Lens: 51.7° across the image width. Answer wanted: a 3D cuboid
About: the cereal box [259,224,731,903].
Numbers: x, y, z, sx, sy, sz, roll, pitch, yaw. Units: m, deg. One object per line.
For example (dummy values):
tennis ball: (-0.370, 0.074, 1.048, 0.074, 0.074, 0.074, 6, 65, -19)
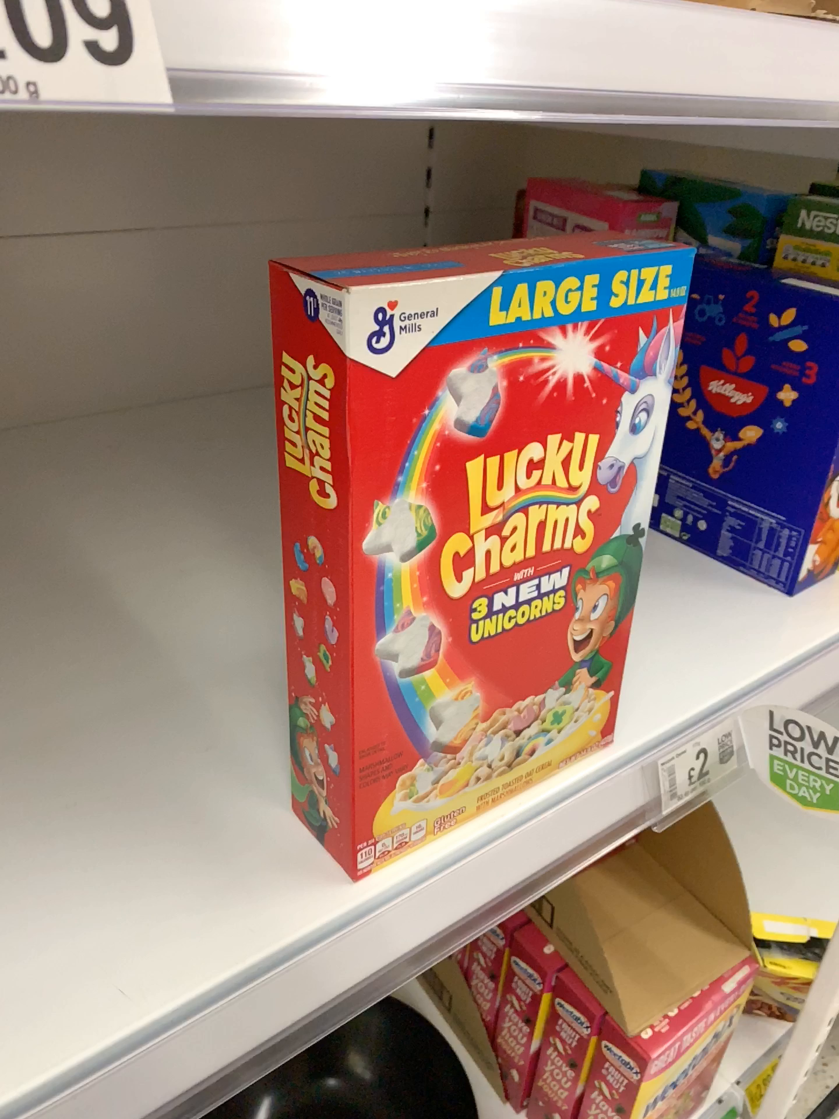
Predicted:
cereal box: (0.036, -0.004, 0.442, 0.211, 0.297, 0.070, -18, 33, -33)
